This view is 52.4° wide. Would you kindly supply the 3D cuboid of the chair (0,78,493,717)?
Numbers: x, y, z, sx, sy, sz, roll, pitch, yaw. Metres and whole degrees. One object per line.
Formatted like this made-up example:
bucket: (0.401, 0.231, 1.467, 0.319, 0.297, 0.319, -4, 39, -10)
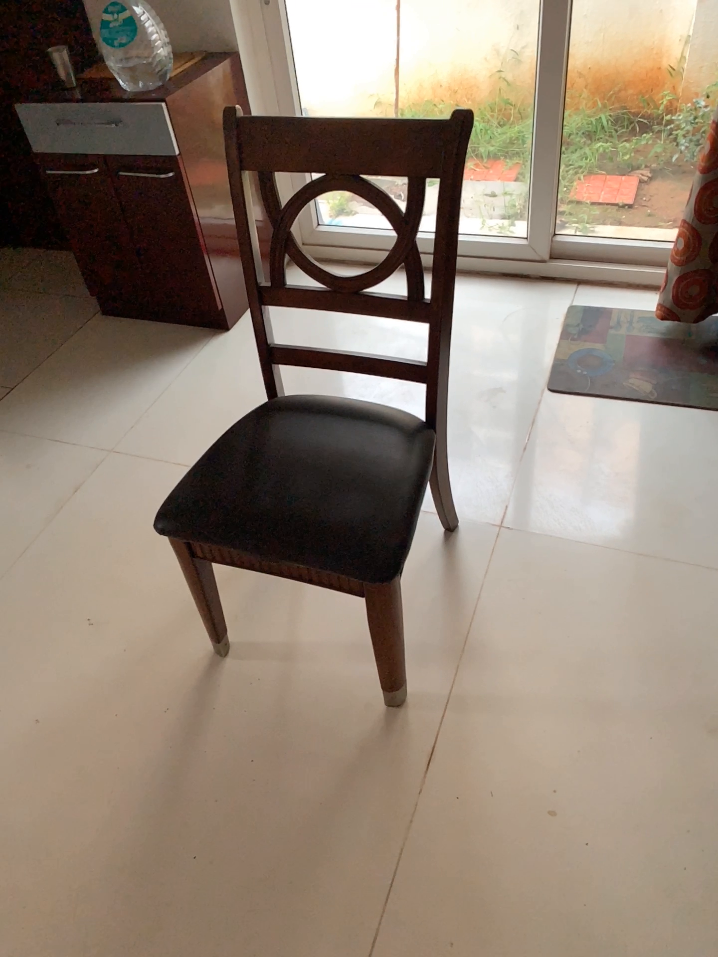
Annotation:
chair: (-0.095, -0.123, 1.450, 0.571, 1.026, 0.642, 11, 50, 18)
